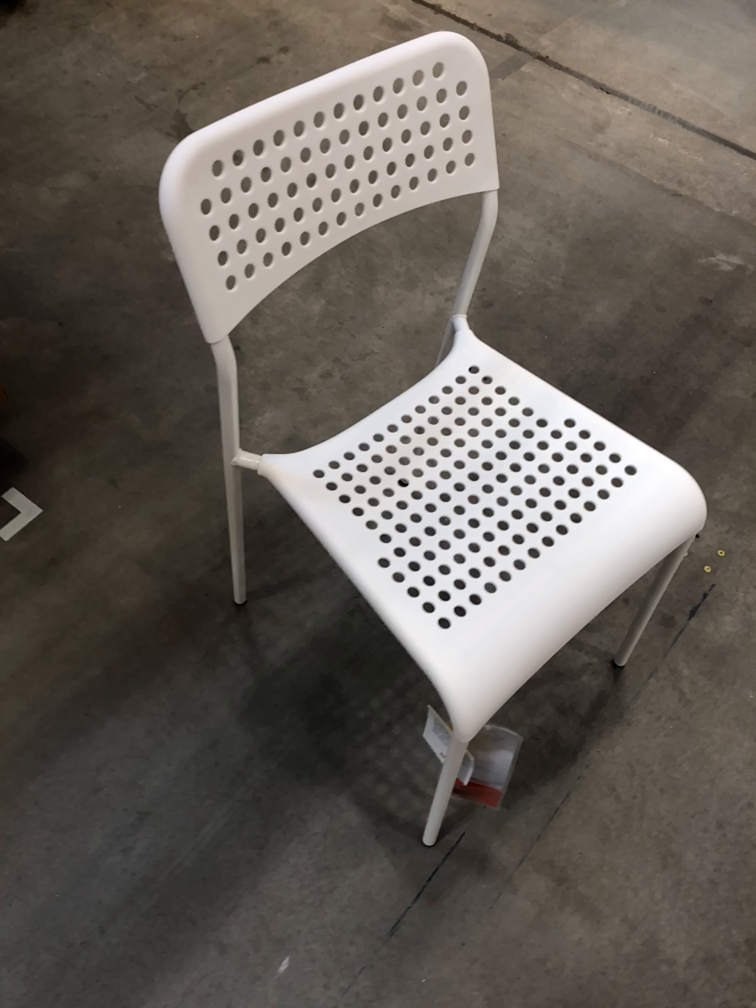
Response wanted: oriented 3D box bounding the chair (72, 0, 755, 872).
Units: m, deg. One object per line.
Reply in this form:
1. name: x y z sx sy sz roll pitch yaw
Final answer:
1. chair: 0.091 -0.031 0.908 0.461 0.698 0.511 -34 65 -23
